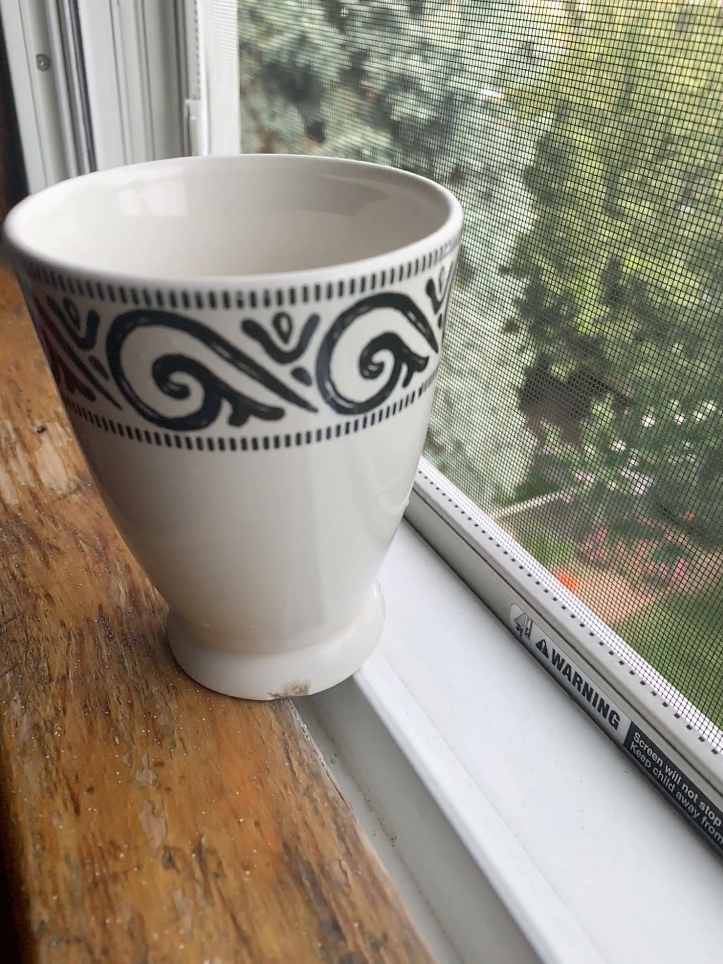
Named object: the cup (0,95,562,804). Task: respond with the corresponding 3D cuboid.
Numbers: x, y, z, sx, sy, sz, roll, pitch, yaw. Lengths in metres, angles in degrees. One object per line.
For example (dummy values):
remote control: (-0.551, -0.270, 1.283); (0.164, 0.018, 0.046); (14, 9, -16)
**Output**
cup: (-0.041, -0.024, 0.167); (0.080, 0.089, 0.130); (-29, 45, -36)
